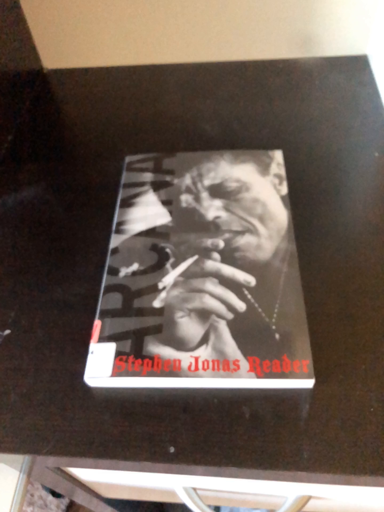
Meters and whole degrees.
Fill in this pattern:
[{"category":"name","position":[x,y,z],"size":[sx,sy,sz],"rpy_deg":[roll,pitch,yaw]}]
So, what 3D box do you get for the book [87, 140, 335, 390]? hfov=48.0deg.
[{"category":"book","position":[0.016,-0.010,0.398],"size":[0.179,0.024,0.260],"rpy_deg":[-1,54,5]}]
